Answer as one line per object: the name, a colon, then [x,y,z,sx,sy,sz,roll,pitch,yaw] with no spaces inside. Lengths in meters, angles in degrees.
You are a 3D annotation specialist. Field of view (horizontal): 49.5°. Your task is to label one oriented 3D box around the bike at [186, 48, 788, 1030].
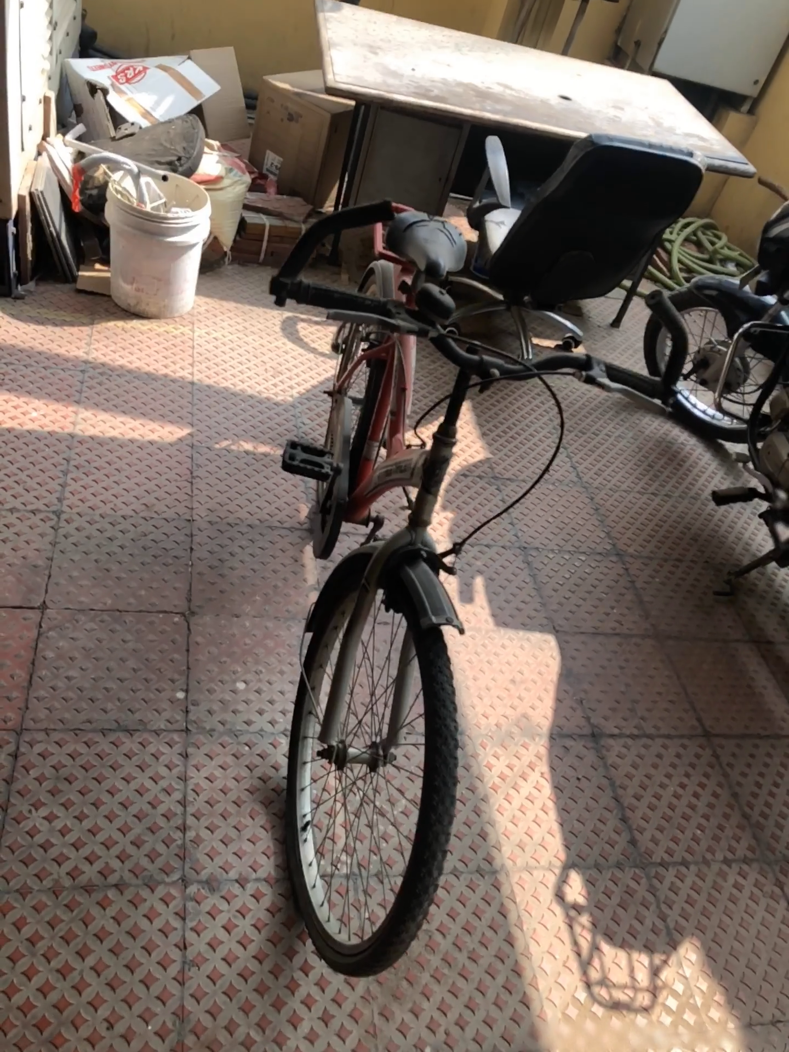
bike: [0.035,-0.116,1.613,0.575,0.963,1.620,9,40,-13]
